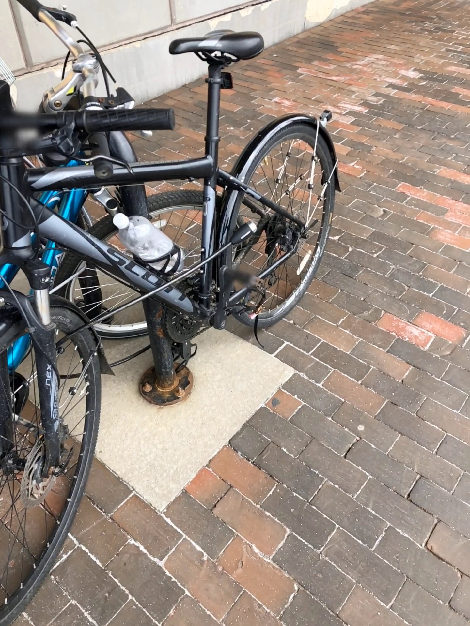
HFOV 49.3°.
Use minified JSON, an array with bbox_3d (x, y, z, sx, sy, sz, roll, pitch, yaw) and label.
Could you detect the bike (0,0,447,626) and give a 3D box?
[{"bbox_3d":[-0.173,-0.087,1.186,0.672,0.940,1.517,22,50,23],"label":"bike"}]
